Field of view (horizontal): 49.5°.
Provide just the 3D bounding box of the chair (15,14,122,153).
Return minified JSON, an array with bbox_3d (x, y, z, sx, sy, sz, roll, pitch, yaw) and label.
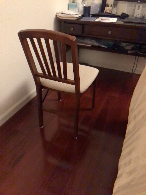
[{"bbox_3d":[0.024,-0.170,1.393,0.530,0.893,0.725,14,36,18],"label":"chair"}]
